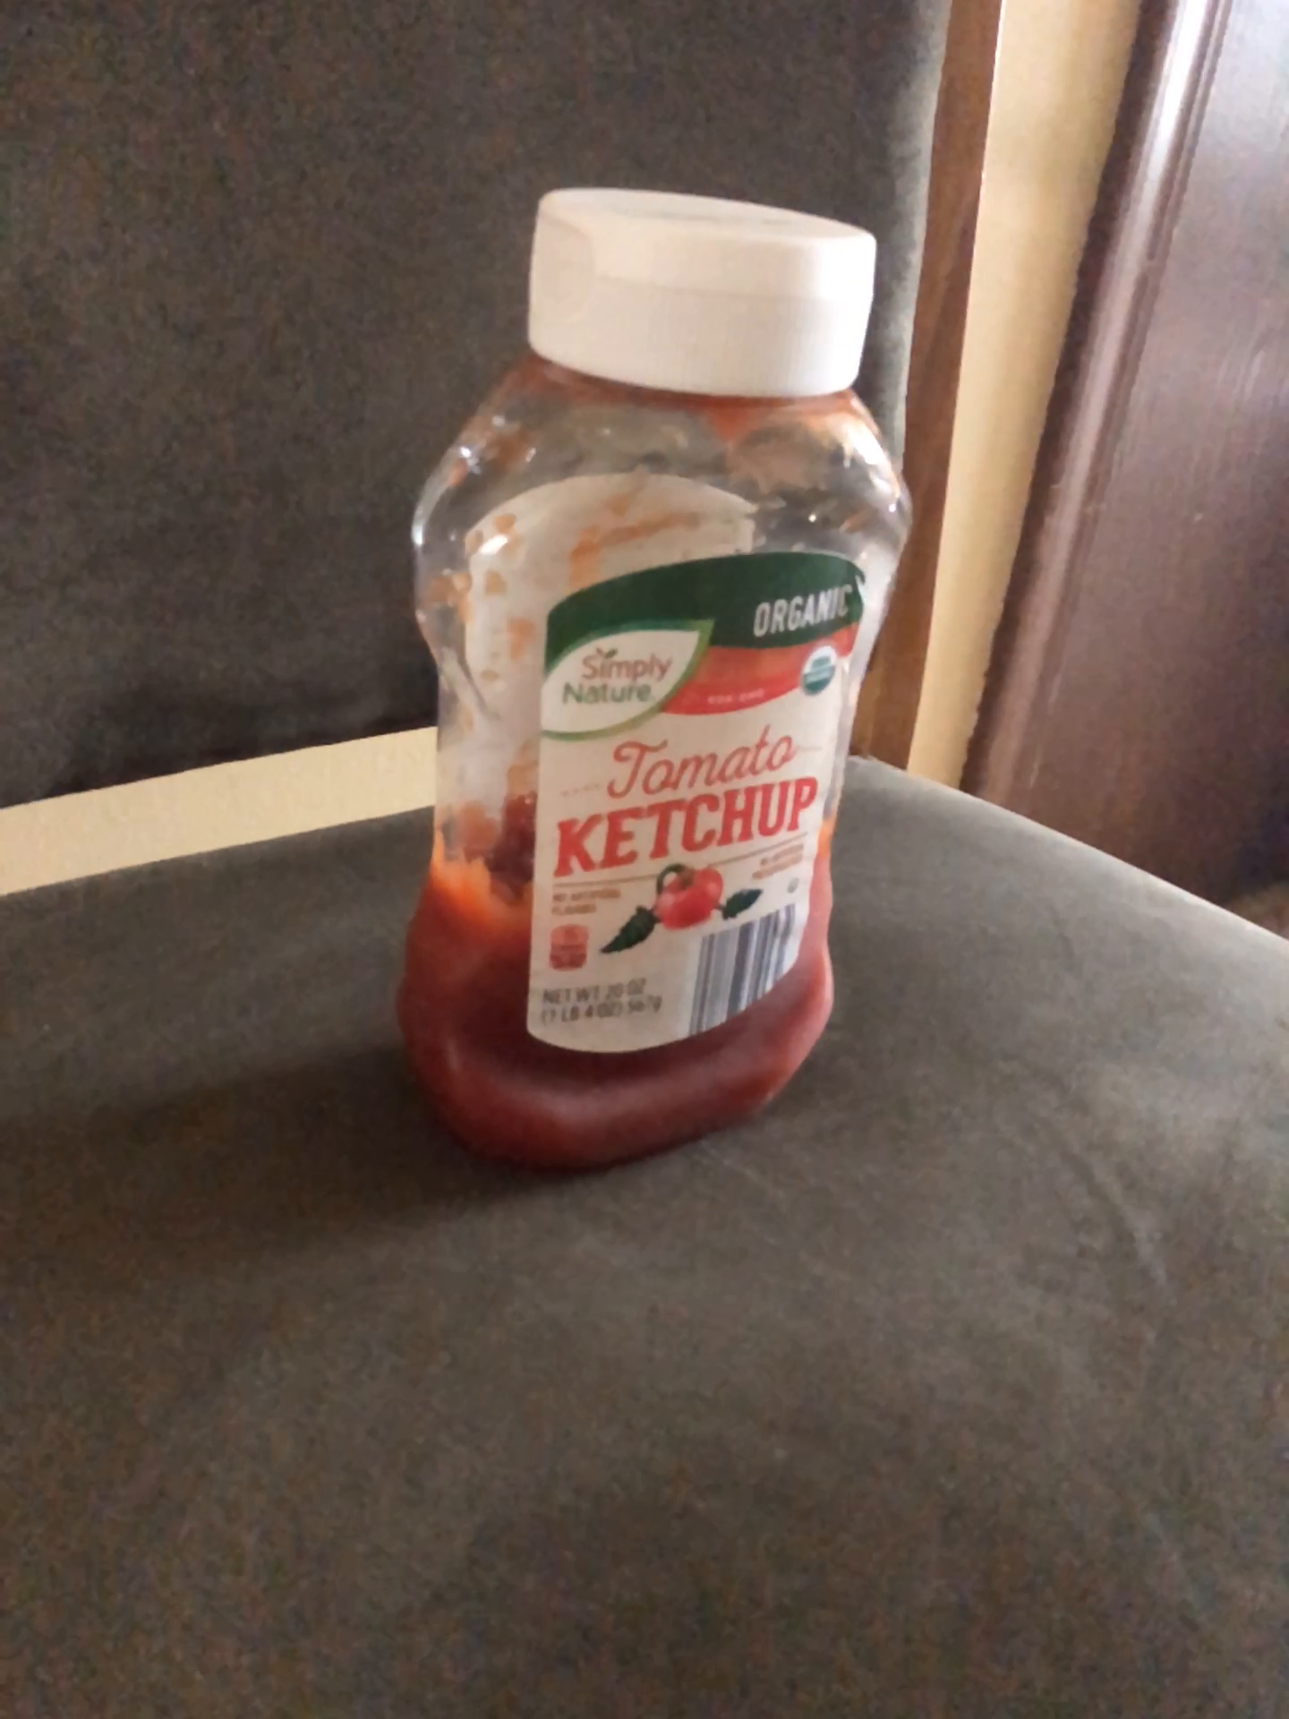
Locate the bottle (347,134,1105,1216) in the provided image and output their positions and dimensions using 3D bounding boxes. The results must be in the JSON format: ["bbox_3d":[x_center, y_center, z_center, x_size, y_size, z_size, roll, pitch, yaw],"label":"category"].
[{"bbox_3d":[0.005,-0.032,0.260,0.100,0.170,0.060,-11,34,-27],"label":"bottle"}]
